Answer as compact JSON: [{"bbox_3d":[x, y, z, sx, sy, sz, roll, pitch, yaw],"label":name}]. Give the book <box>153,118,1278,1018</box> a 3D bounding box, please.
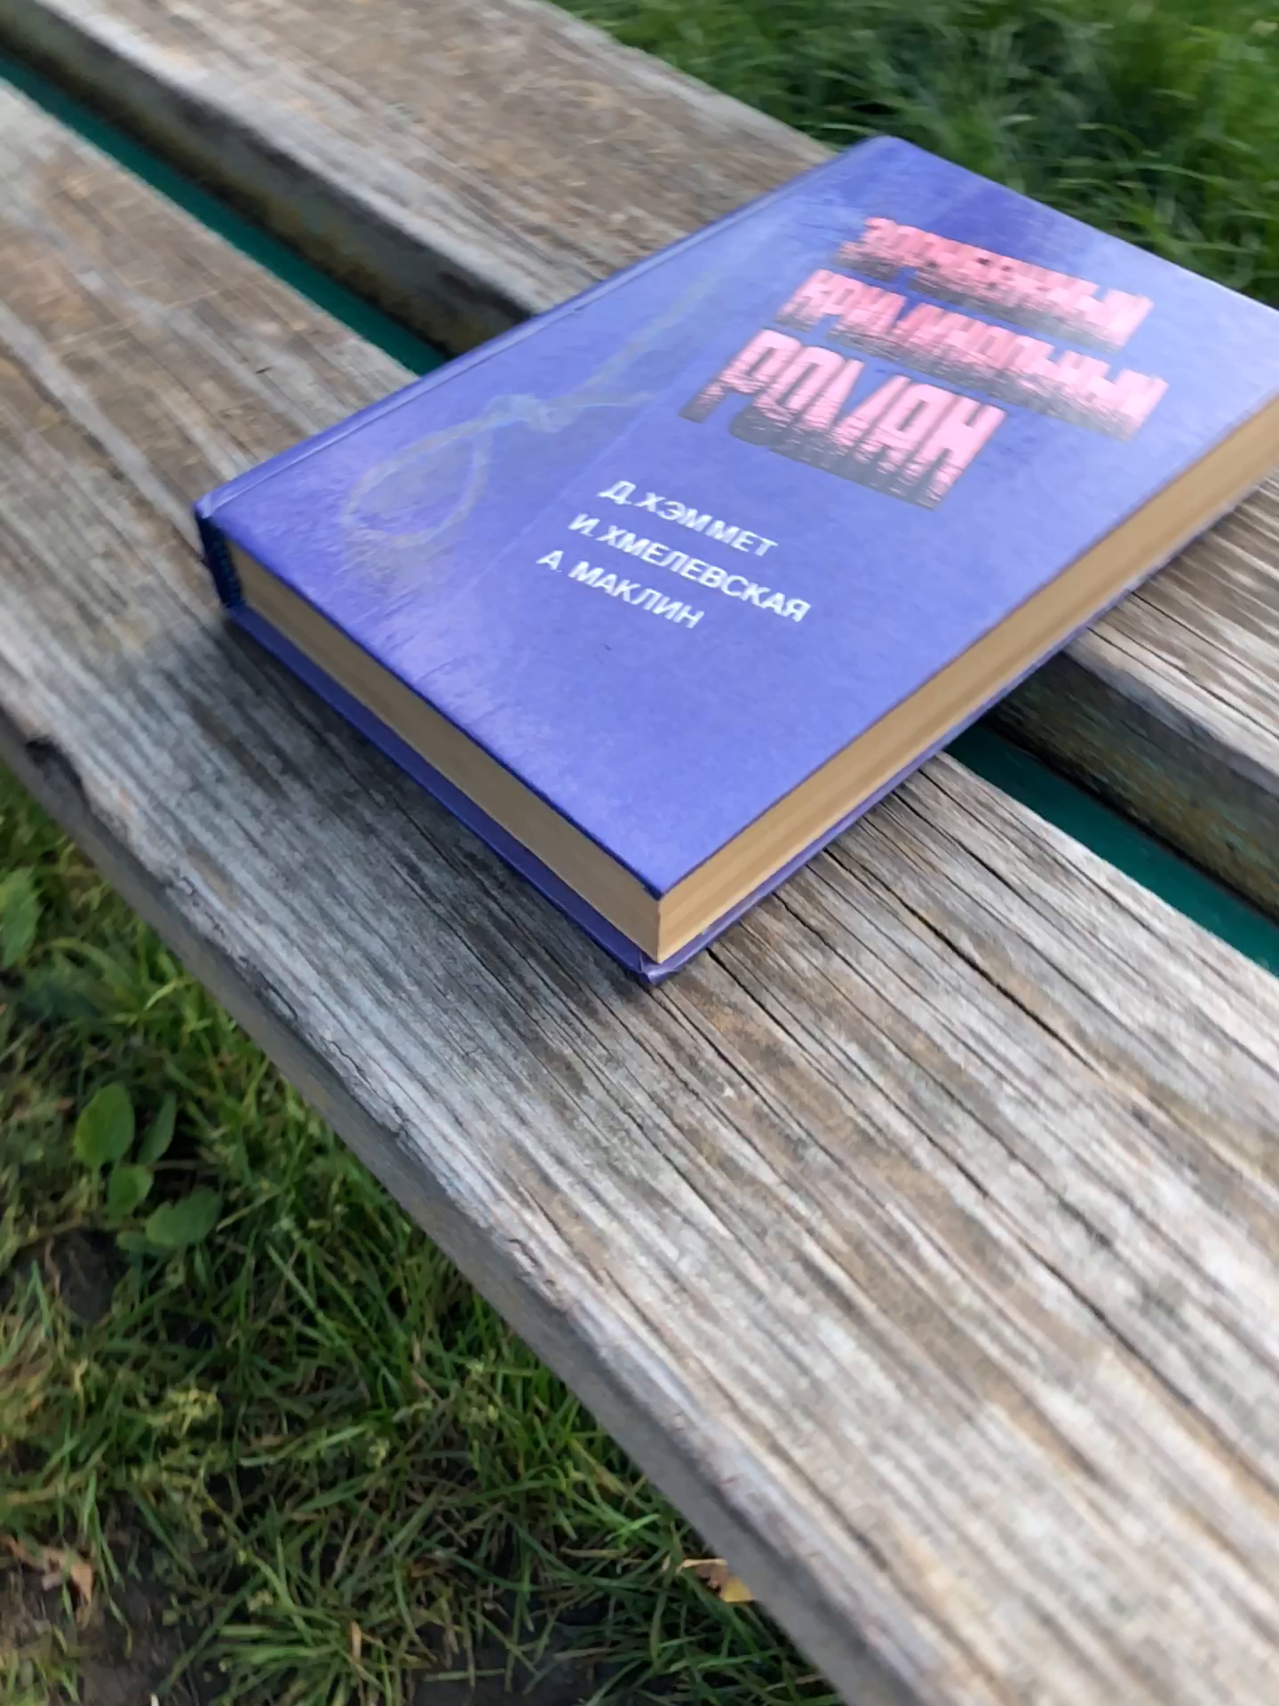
[{"bbox_3d":[0.029,-0.077,0.289,0.205,0.030,0.131,-38,61,-25],"label":"book"}]
